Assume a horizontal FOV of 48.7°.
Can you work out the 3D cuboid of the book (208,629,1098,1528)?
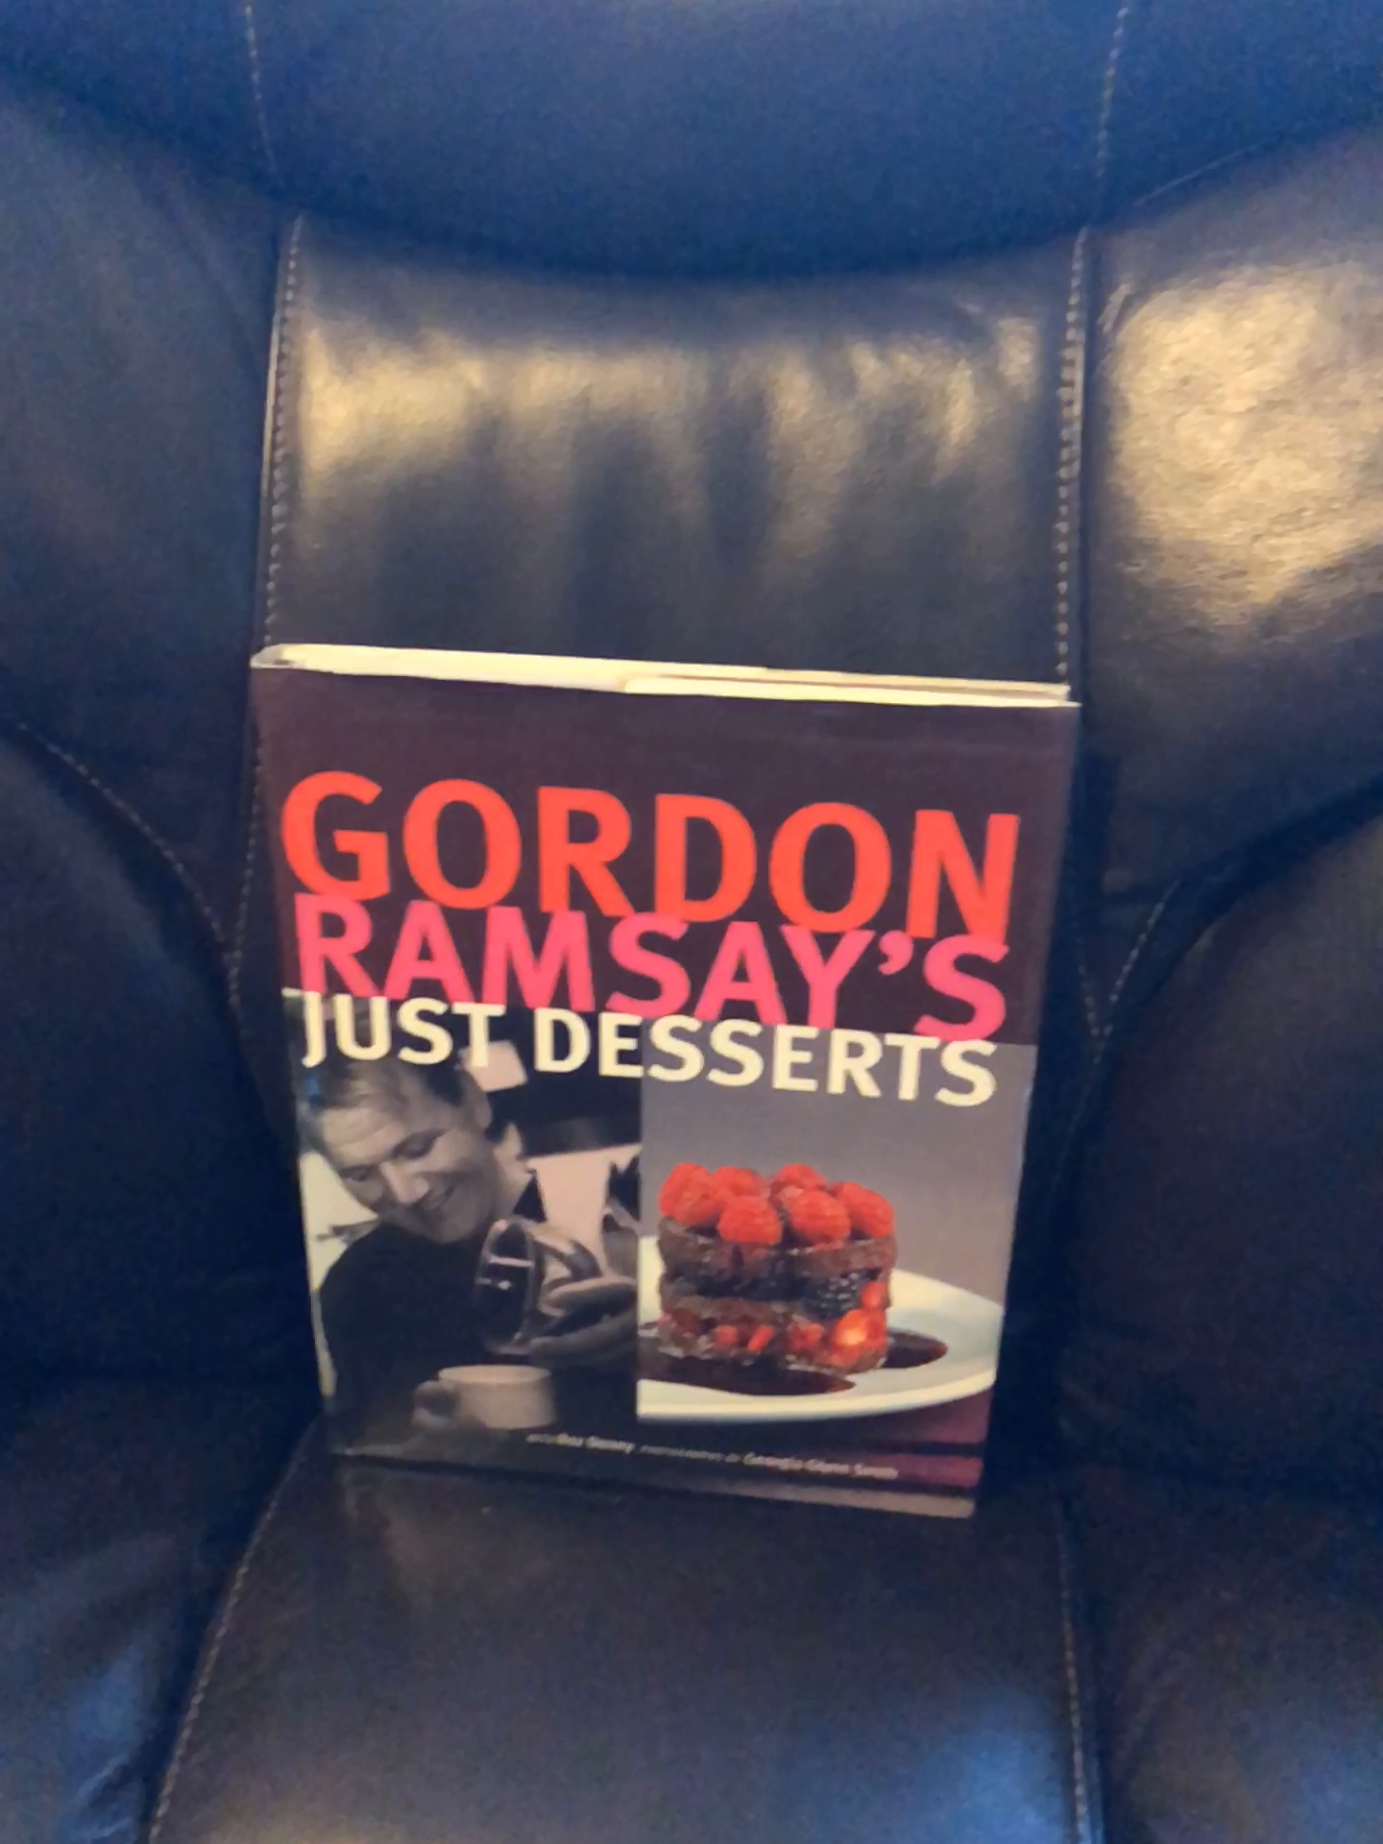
[{"bbox_3d":[-0.012,0.061,0.473,0.230,0.293,0.030,4,28,6],"label":"book"}]
